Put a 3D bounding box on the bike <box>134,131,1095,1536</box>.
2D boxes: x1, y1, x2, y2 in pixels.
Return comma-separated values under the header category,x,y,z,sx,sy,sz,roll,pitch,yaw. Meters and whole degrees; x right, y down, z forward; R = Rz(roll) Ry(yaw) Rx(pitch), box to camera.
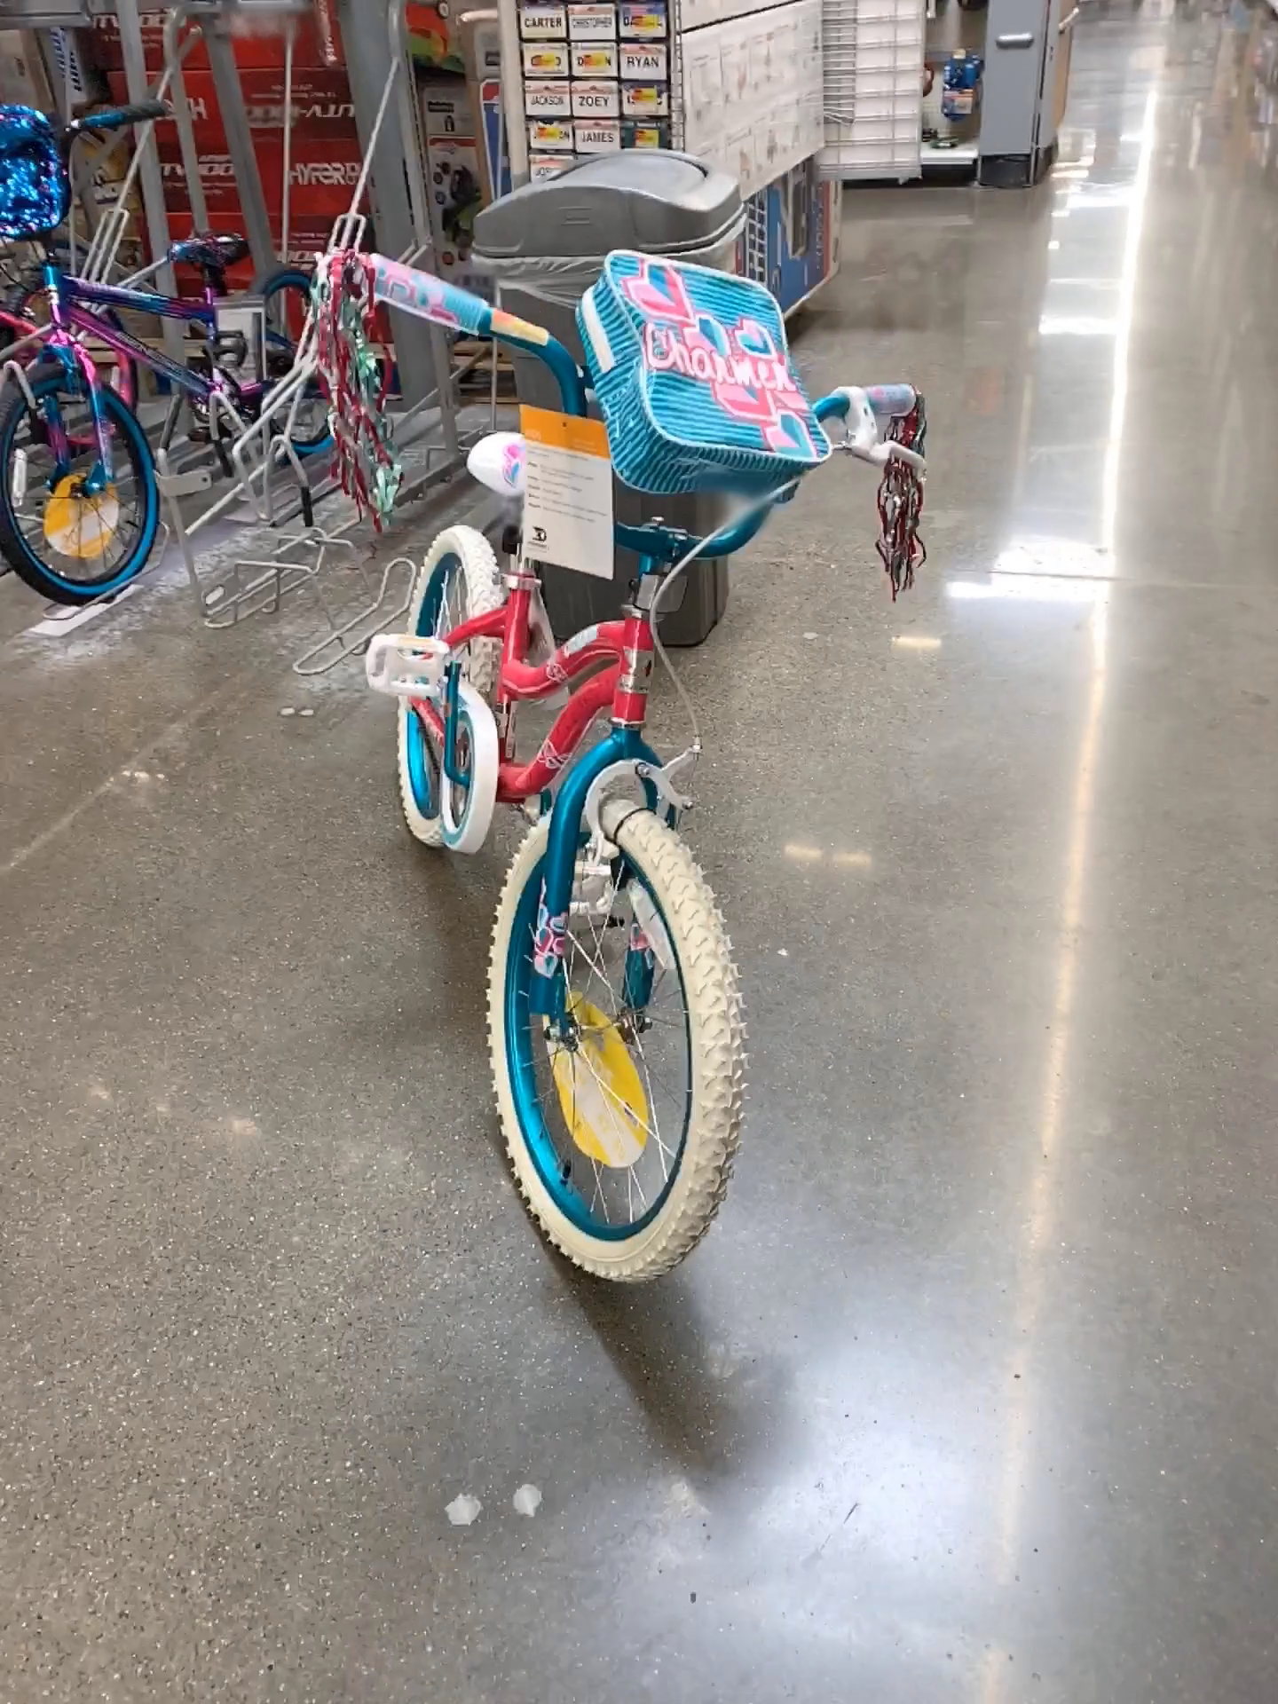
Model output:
category,x,y,z,sx,sy,sz,roll,pitch,yaw
bike,-0.132,-0.200,1.574,0.652,0.929,1.268,-14,38,-15
